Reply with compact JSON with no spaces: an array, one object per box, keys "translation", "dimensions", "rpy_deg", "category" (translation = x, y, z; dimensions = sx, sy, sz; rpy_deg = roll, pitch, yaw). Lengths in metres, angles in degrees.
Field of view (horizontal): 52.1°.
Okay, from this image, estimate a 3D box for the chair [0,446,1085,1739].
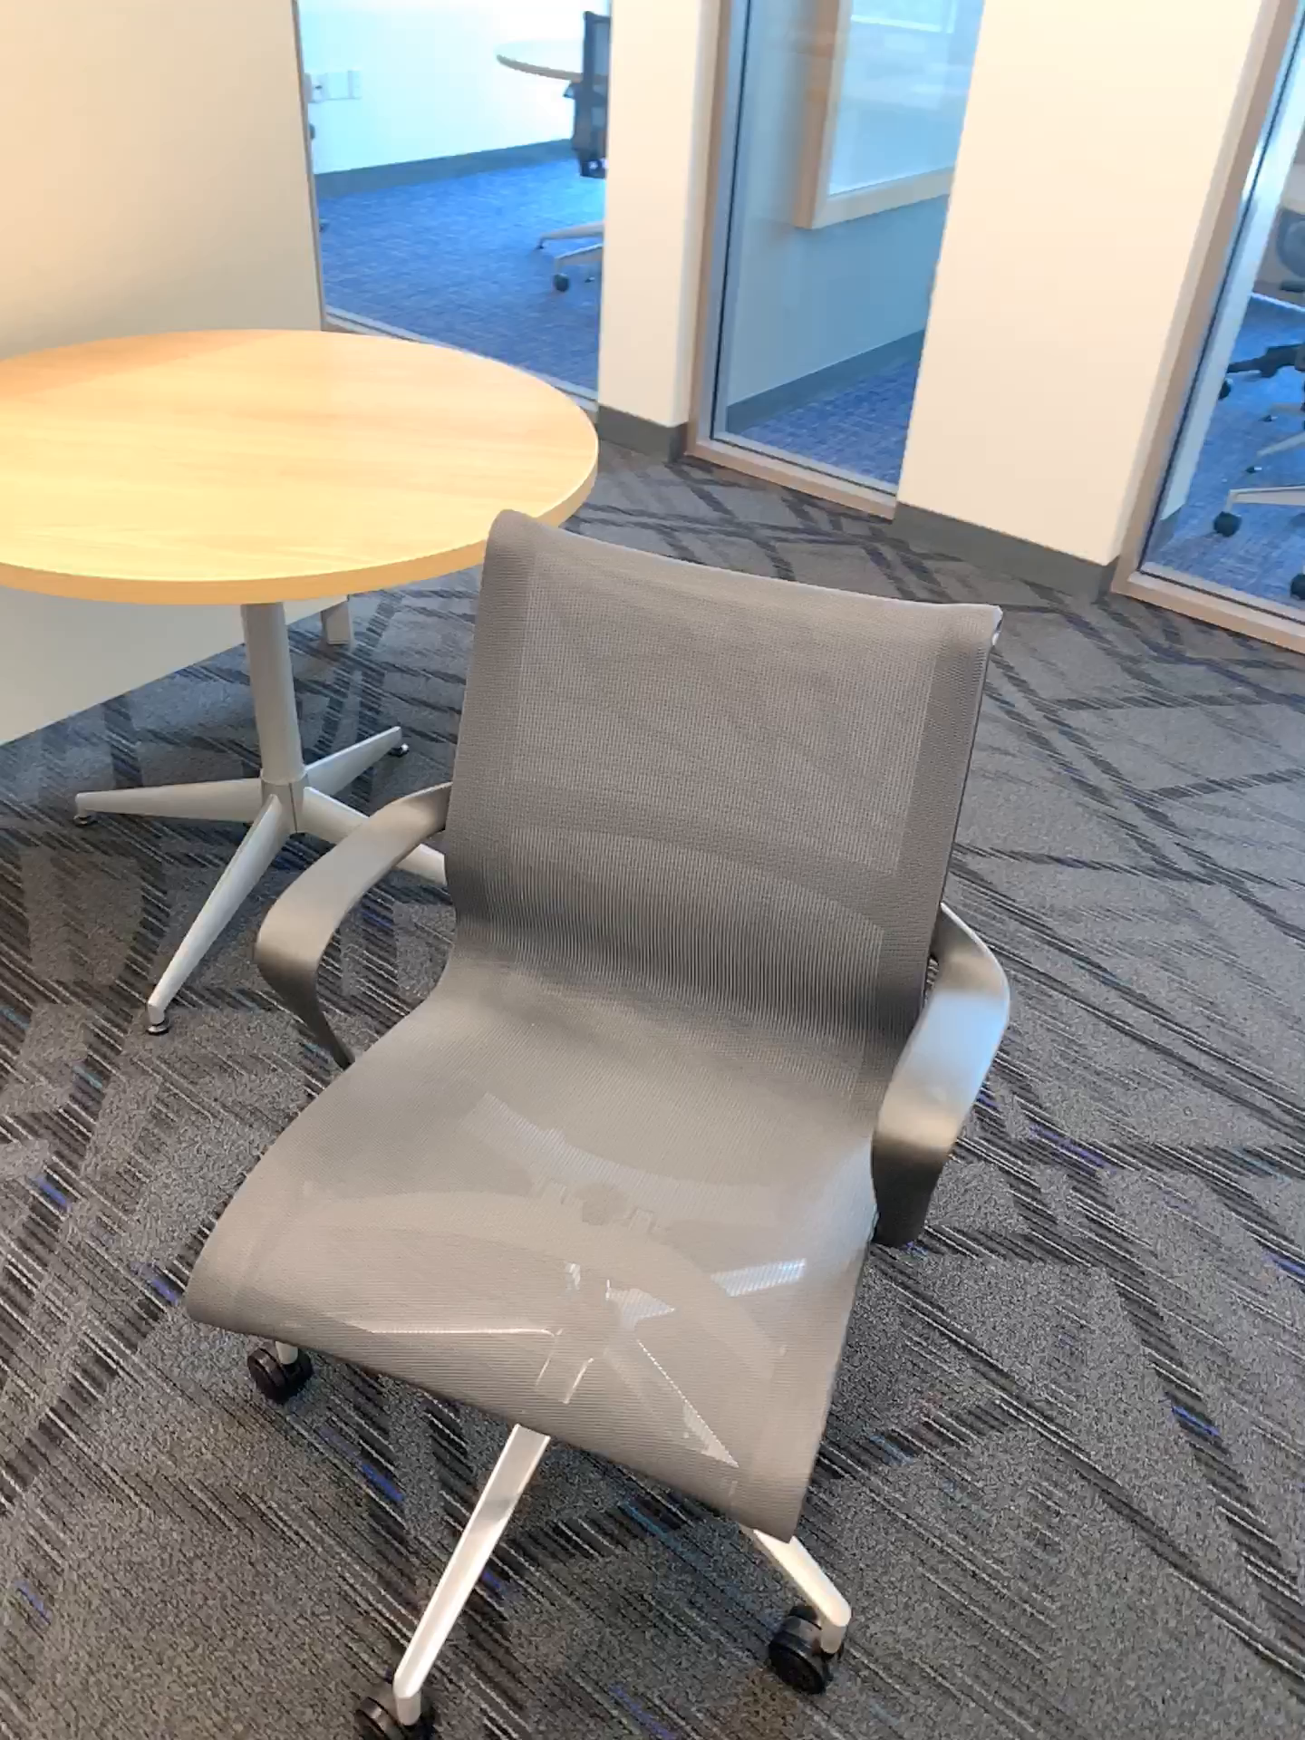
[{"translation":[-0.116,0.203,1.047],"dimensions":[0.680,0.753,0.706],"rpy_deg":[13,37,12],"category":"chair"}]
